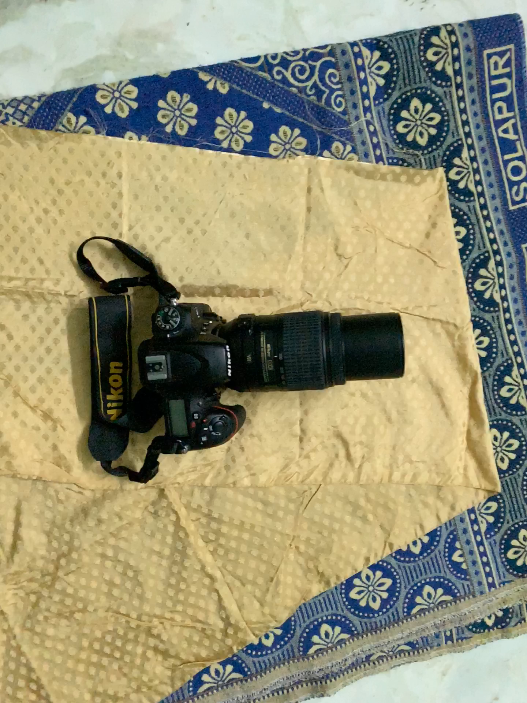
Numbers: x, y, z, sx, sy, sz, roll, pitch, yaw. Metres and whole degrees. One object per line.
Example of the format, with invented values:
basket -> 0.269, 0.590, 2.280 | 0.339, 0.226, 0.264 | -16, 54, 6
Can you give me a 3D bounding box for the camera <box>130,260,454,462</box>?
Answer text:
camera -> 0.026, 0.004, 0.503 | 0.240, 0.180, 0.140 | -4, 93, 4
